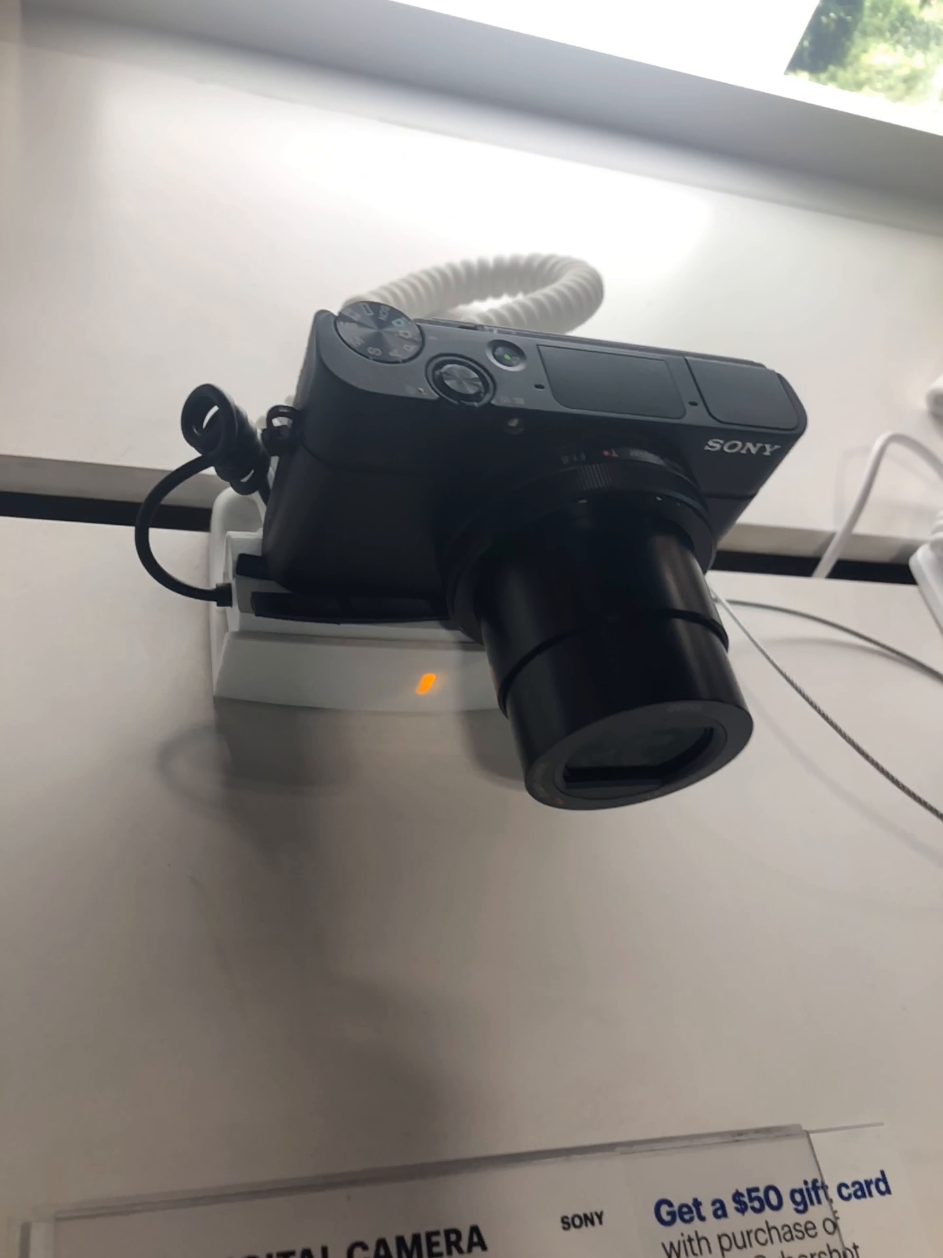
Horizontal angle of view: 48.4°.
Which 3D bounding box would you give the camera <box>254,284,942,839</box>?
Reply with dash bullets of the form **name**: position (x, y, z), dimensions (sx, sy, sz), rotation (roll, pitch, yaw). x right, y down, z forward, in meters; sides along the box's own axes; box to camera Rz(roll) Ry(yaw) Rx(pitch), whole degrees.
- **camera**: position (0.016, -0.008, 0.208), dimensions (0.105, 0.074, 0.070), rotation (3, 51, -19)
